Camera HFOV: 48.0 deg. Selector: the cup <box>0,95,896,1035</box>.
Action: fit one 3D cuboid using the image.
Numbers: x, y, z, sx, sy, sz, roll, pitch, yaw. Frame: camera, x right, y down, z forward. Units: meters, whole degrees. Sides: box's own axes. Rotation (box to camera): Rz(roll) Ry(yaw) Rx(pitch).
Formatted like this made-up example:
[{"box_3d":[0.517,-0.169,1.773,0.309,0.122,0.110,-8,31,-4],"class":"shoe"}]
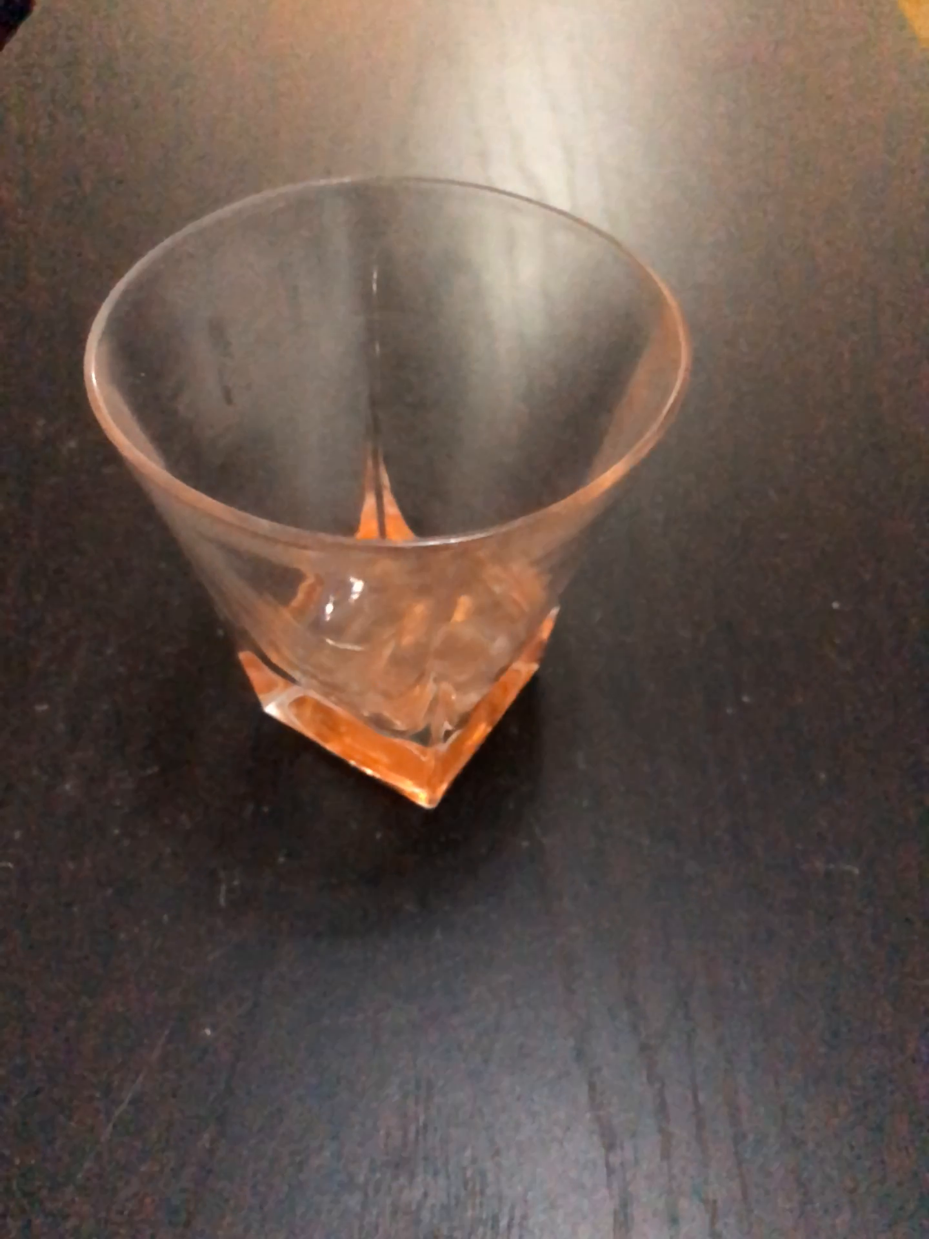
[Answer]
[{"box_3d":[-0.008,-0.016,0.202,0.110,0.099,0.110,1,50,-2],"class":"cup"}]
